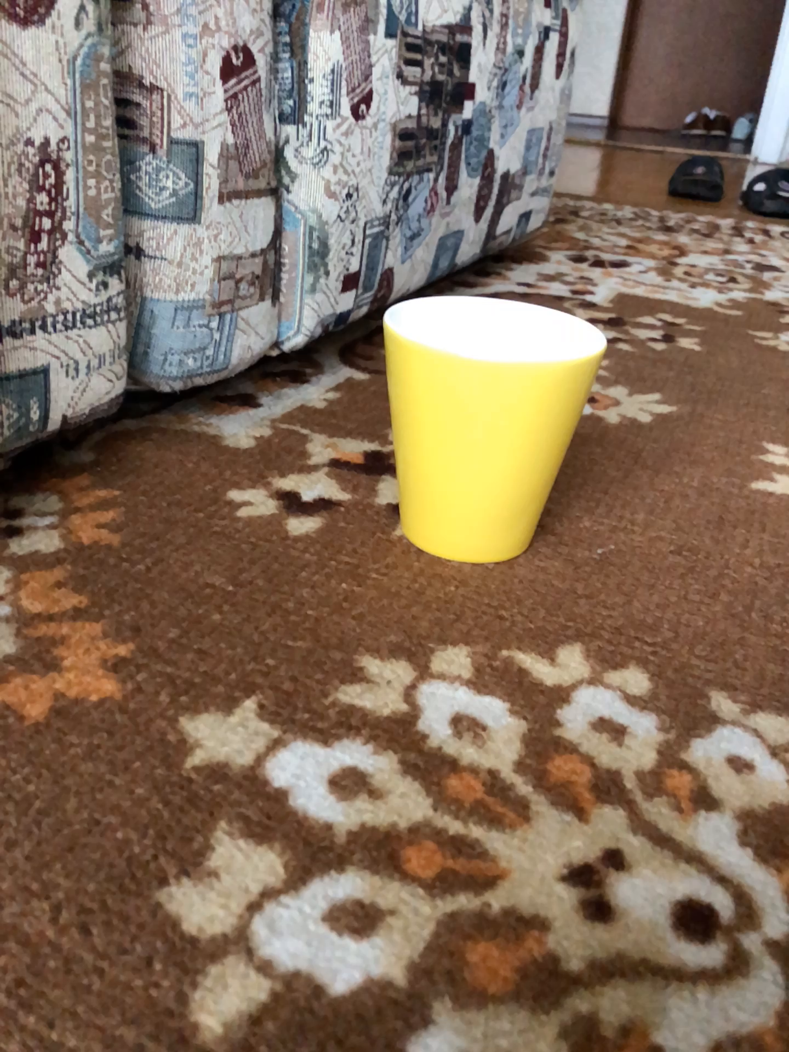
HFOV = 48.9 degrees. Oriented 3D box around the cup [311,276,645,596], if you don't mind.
[{"bbox_3d":[0.039,-0.049,0.382,0.097,0.088,0.125,16,29,23],"label":"cup"}]
